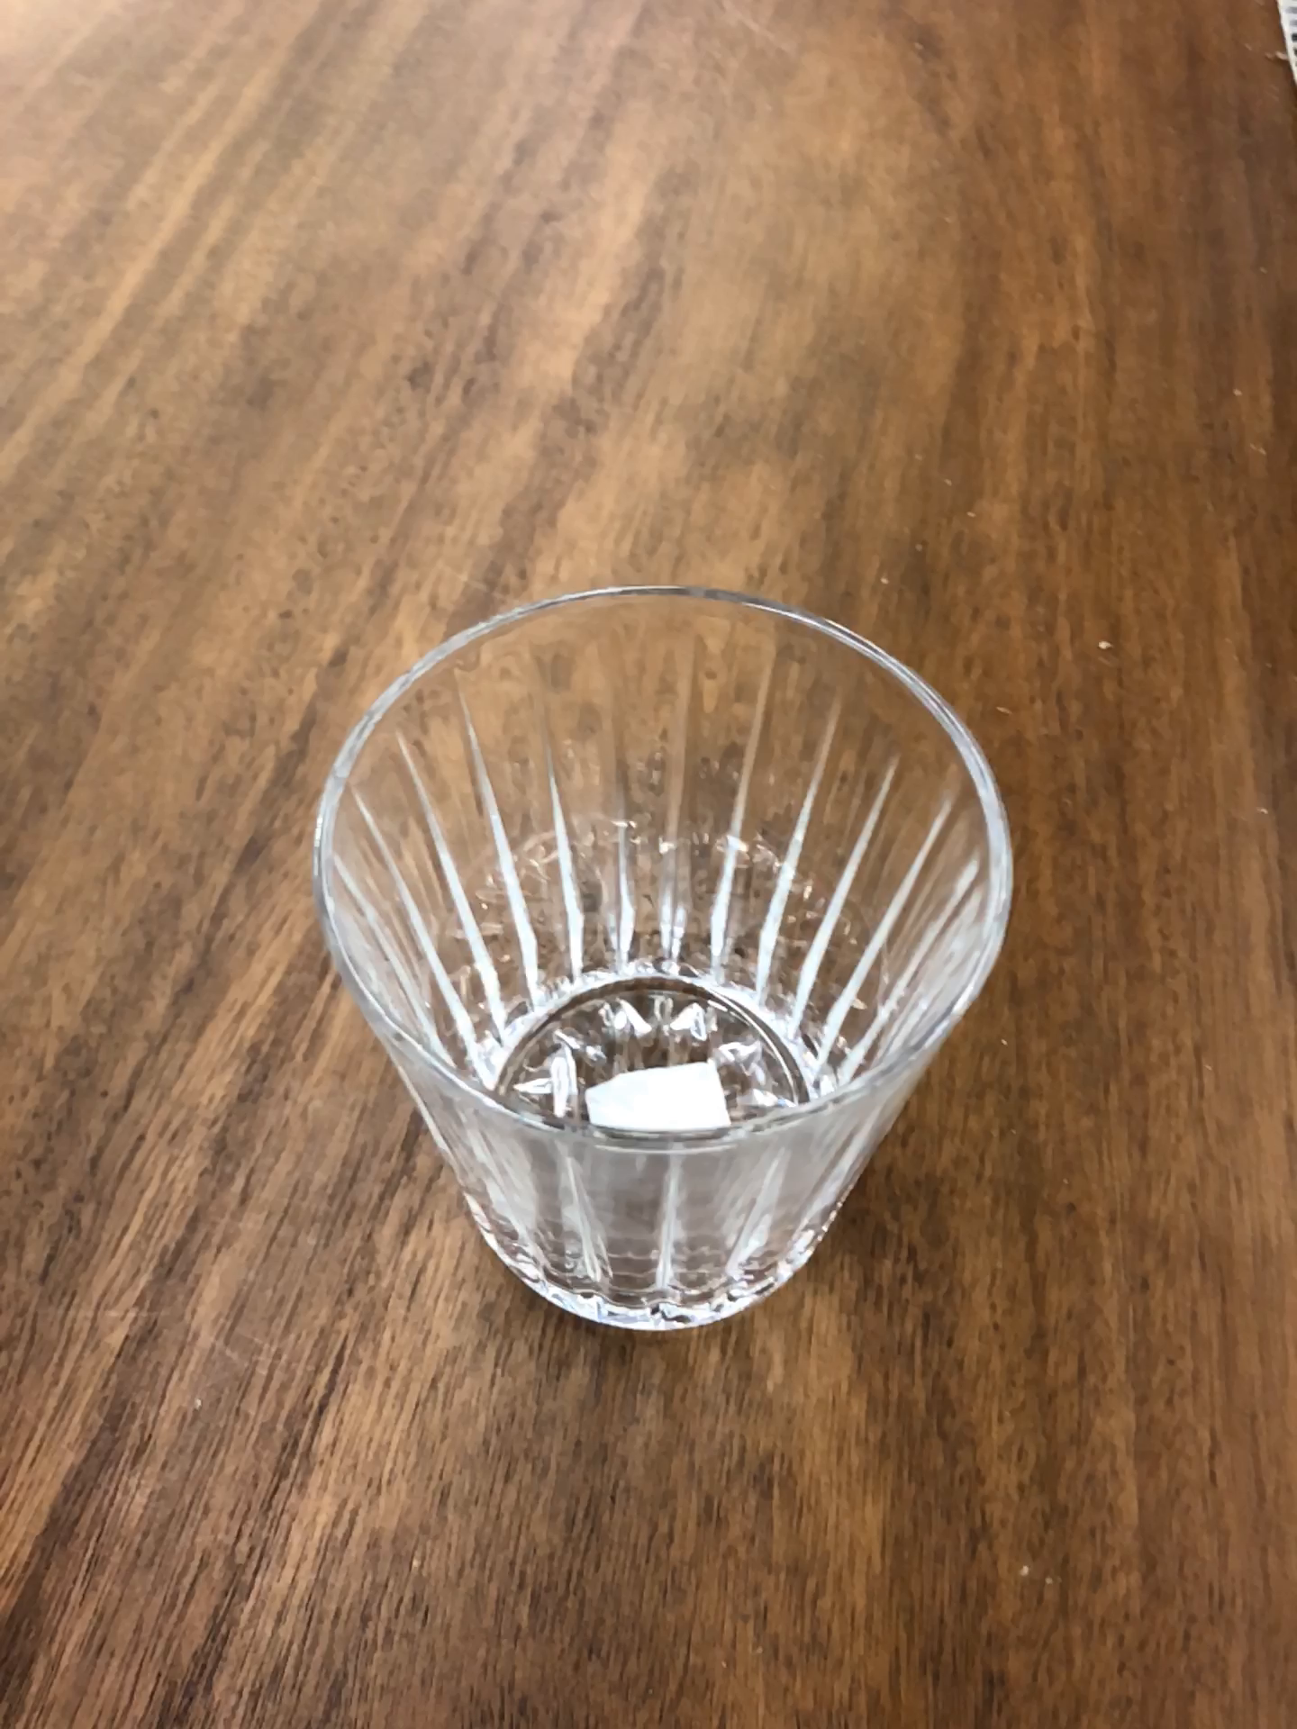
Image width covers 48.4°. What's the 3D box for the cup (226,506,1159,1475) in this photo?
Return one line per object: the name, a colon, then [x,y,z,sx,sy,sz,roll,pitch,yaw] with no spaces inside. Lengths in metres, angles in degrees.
cup: [0.009,0.020,0.231,0.093,0.093,0.089,0,54,1]
